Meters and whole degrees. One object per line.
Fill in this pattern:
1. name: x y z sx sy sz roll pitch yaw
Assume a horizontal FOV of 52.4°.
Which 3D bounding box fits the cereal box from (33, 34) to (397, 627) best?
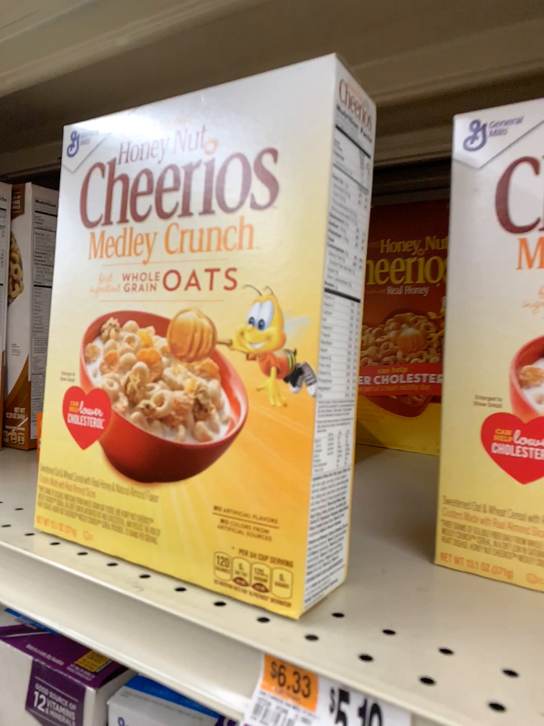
1. cereal box: -0.039 -0.019 0.309 0.190 0.250 0.060 3 -2 33
